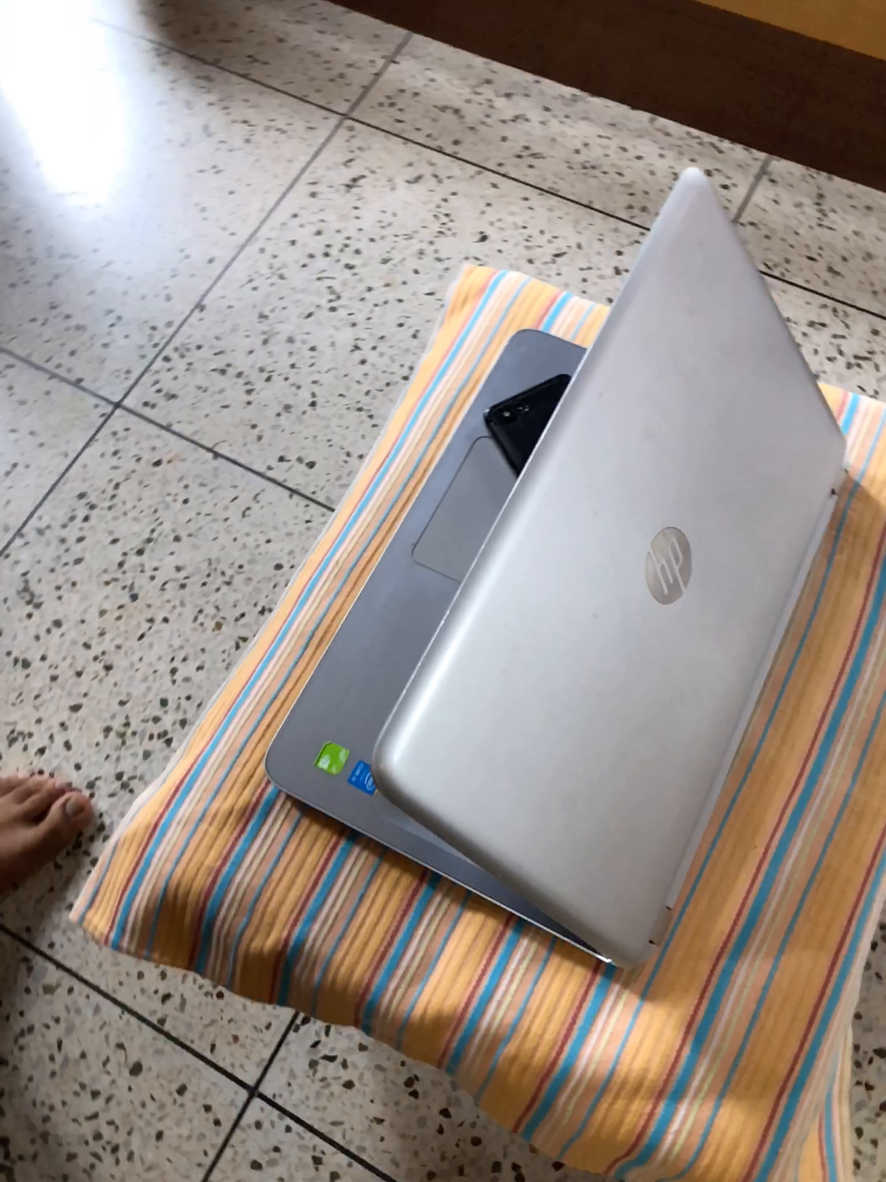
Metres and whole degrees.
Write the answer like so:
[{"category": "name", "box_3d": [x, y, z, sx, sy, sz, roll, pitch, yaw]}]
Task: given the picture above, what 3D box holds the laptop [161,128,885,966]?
[{"category": "laptop", "box_3d": [0.068, -0.027, 0.555, 0.236, 0.184, 0.372, 25, 70, 13]}]
